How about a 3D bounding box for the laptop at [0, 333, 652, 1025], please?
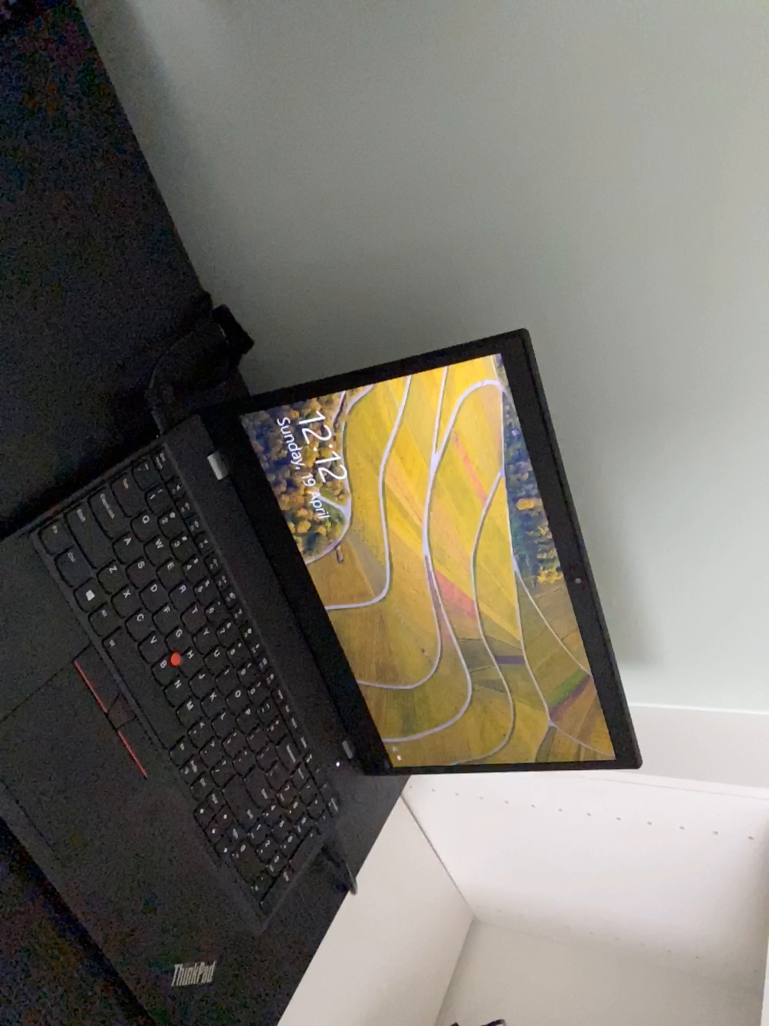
[{"bbox_3d":[-0.021,0.125,0.495,0.294,0.231,0.351,-48,125,-46],"label":"laptop"}]
